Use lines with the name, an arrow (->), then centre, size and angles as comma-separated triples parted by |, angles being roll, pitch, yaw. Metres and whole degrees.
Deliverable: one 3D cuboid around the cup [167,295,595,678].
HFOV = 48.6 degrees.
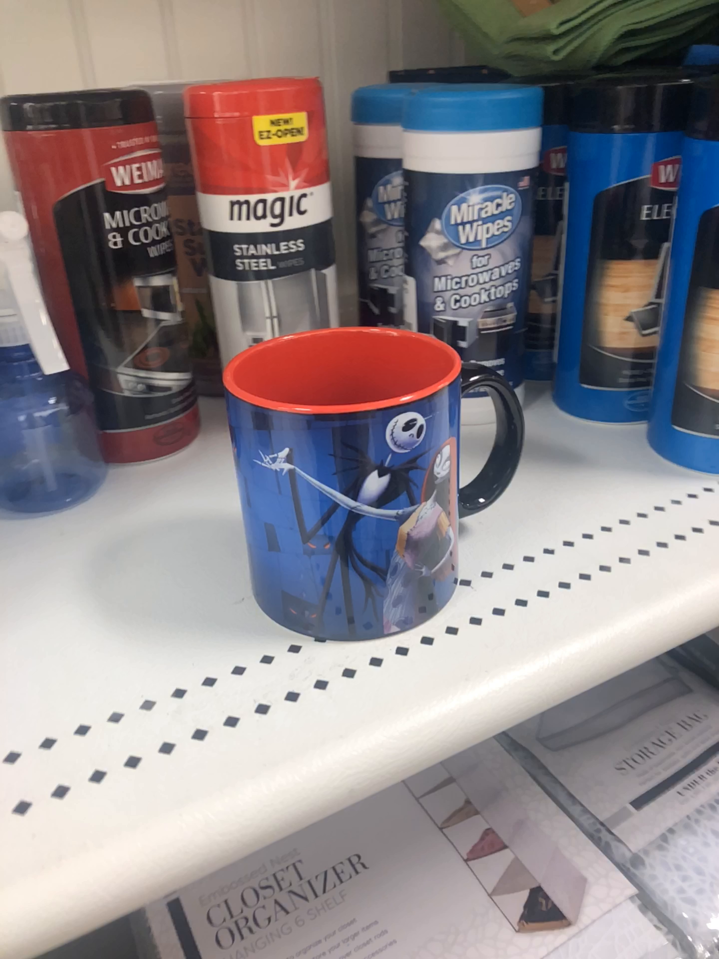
cup -> 0.010, -0.010, 0.368 | 0.147, 0.103, 0.113 | -20, 32, -29
